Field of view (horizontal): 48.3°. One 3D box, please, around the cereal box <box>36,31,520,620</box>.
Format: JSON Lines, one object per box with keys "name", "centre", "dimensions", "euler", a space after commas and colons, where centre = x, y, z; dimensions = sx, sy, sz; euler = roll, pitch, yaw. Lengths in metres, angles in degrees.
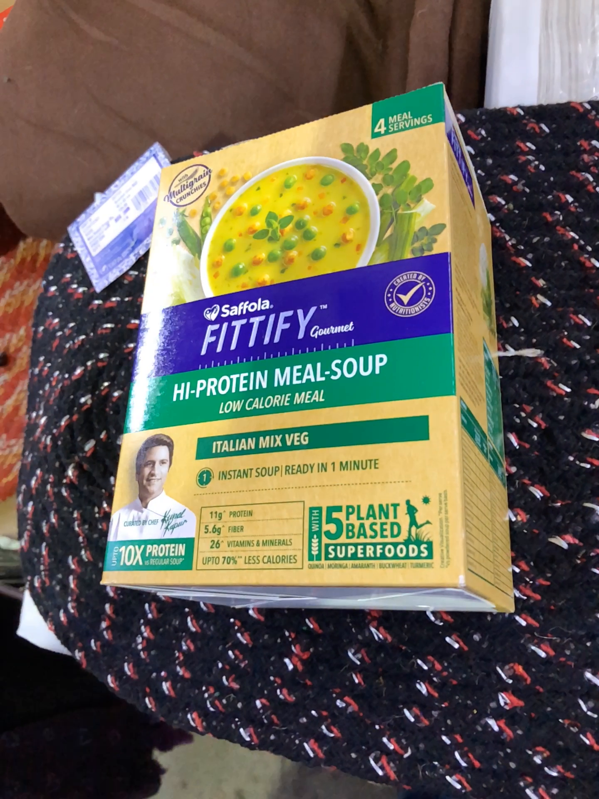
{"name": "cereal box", "centre": [0.001, -0.016, 0.240], "dimensions": [0.130, 0.080, 0.170], "euler": [-6, 67, 24]}
